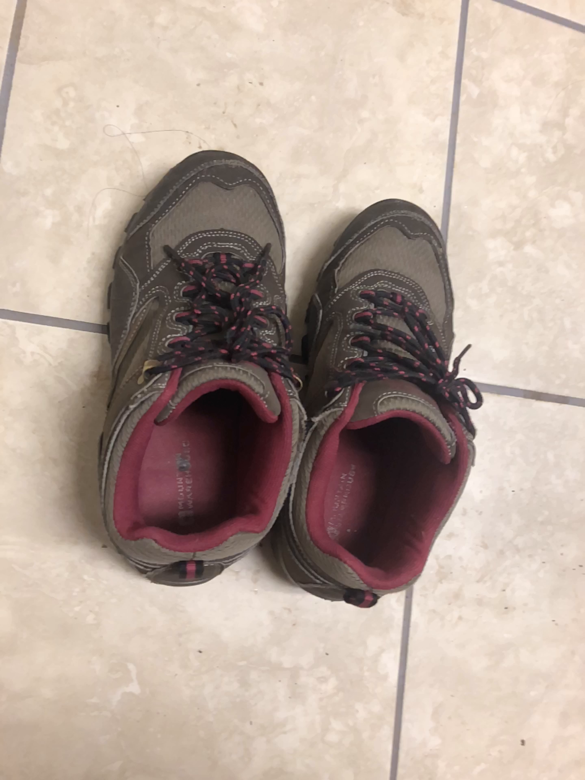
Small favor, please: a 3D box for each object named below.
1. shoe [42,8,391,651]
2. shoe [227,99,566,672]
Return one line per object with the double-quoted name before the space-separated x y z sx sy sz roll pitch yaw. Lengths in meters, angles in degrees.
"shoe" -0.042 -0.022 0.341 0.120 0.120 0.270 9 84 -15
"shoe" 0.052 0.001 0.368 0.110 0.120 0.260 13 83 -15
